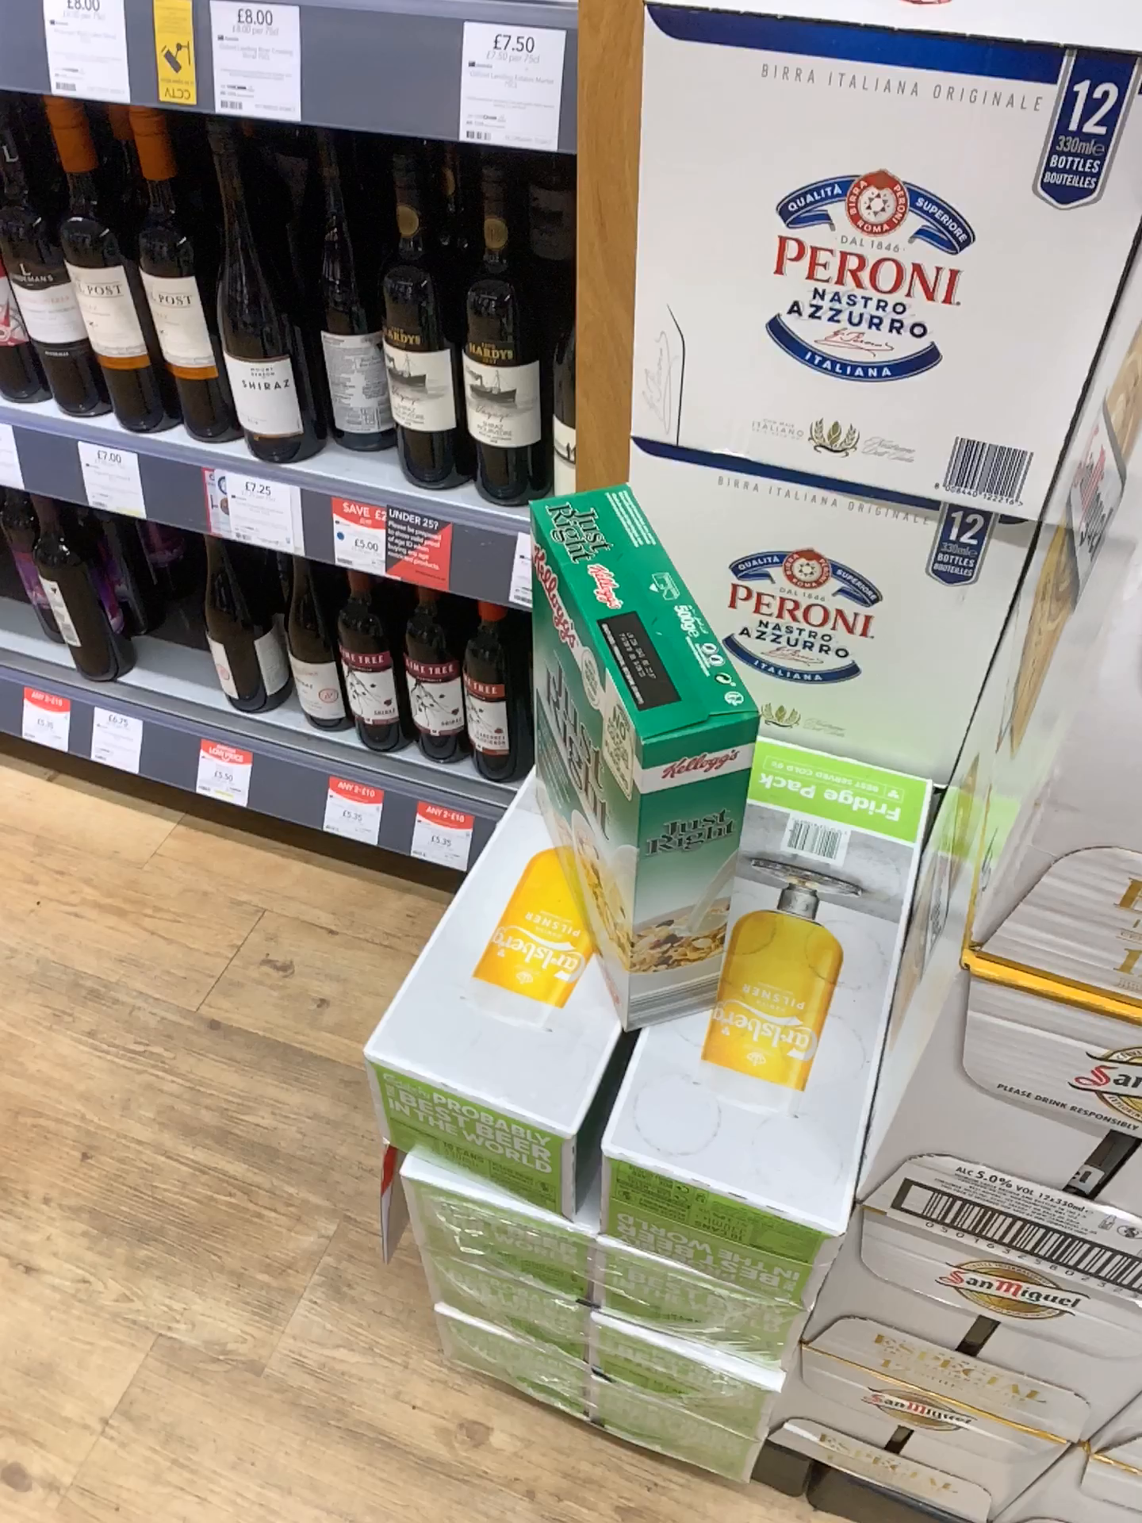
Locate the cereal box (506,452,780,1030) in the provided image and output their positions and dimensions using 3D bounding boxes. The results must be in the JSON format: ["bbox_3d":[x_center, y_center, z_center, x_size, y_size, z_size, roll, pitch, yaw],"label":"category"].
[{"bbox_3d":[0.028,-0.007,0.631,0.070,0.238,0.192,-12,47,-11],"label":"cereal box"}]
